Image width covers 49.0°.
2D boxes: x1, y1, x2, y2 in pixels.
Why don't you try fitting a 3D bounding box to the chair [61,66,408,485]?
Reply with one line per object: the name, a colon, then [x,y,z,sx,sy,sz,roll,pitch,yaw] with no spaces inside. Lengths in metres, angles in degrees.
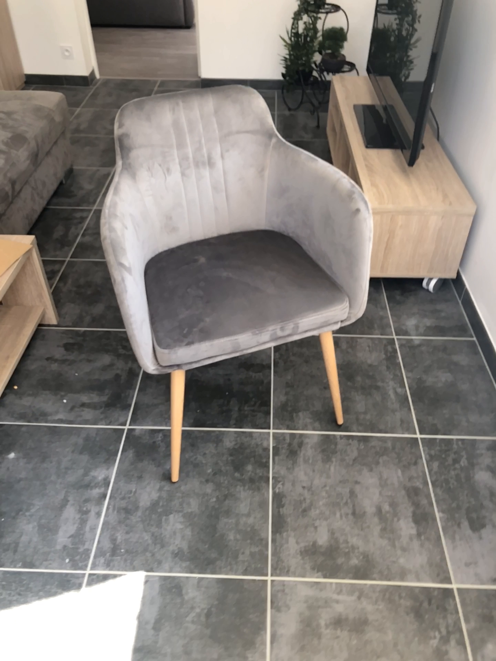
chair: [-0.067,-0.154,1.451,0.591,0.825,0.582,-14,43,-16]
